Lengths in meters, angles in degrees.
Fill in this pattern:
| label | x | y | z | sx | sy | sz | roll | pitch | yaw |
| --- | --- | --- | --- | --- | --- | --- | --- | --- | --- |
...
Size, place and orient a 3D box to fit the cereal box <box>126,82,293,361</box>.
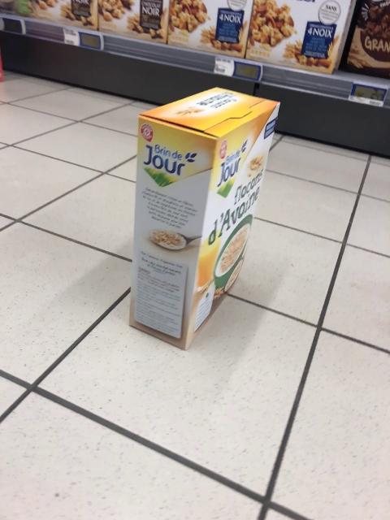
| label | x | y | z | sx | sy | sz | roll | pitch | yaw |
| --- | --- | --- | --- | --- | --- | --- | --- | --- | --- |
| cereal box | 0.014 | -0.043 | 0.407 | 0.070 | 0.209 | 0.161 | 20 | 33 | 20 |
